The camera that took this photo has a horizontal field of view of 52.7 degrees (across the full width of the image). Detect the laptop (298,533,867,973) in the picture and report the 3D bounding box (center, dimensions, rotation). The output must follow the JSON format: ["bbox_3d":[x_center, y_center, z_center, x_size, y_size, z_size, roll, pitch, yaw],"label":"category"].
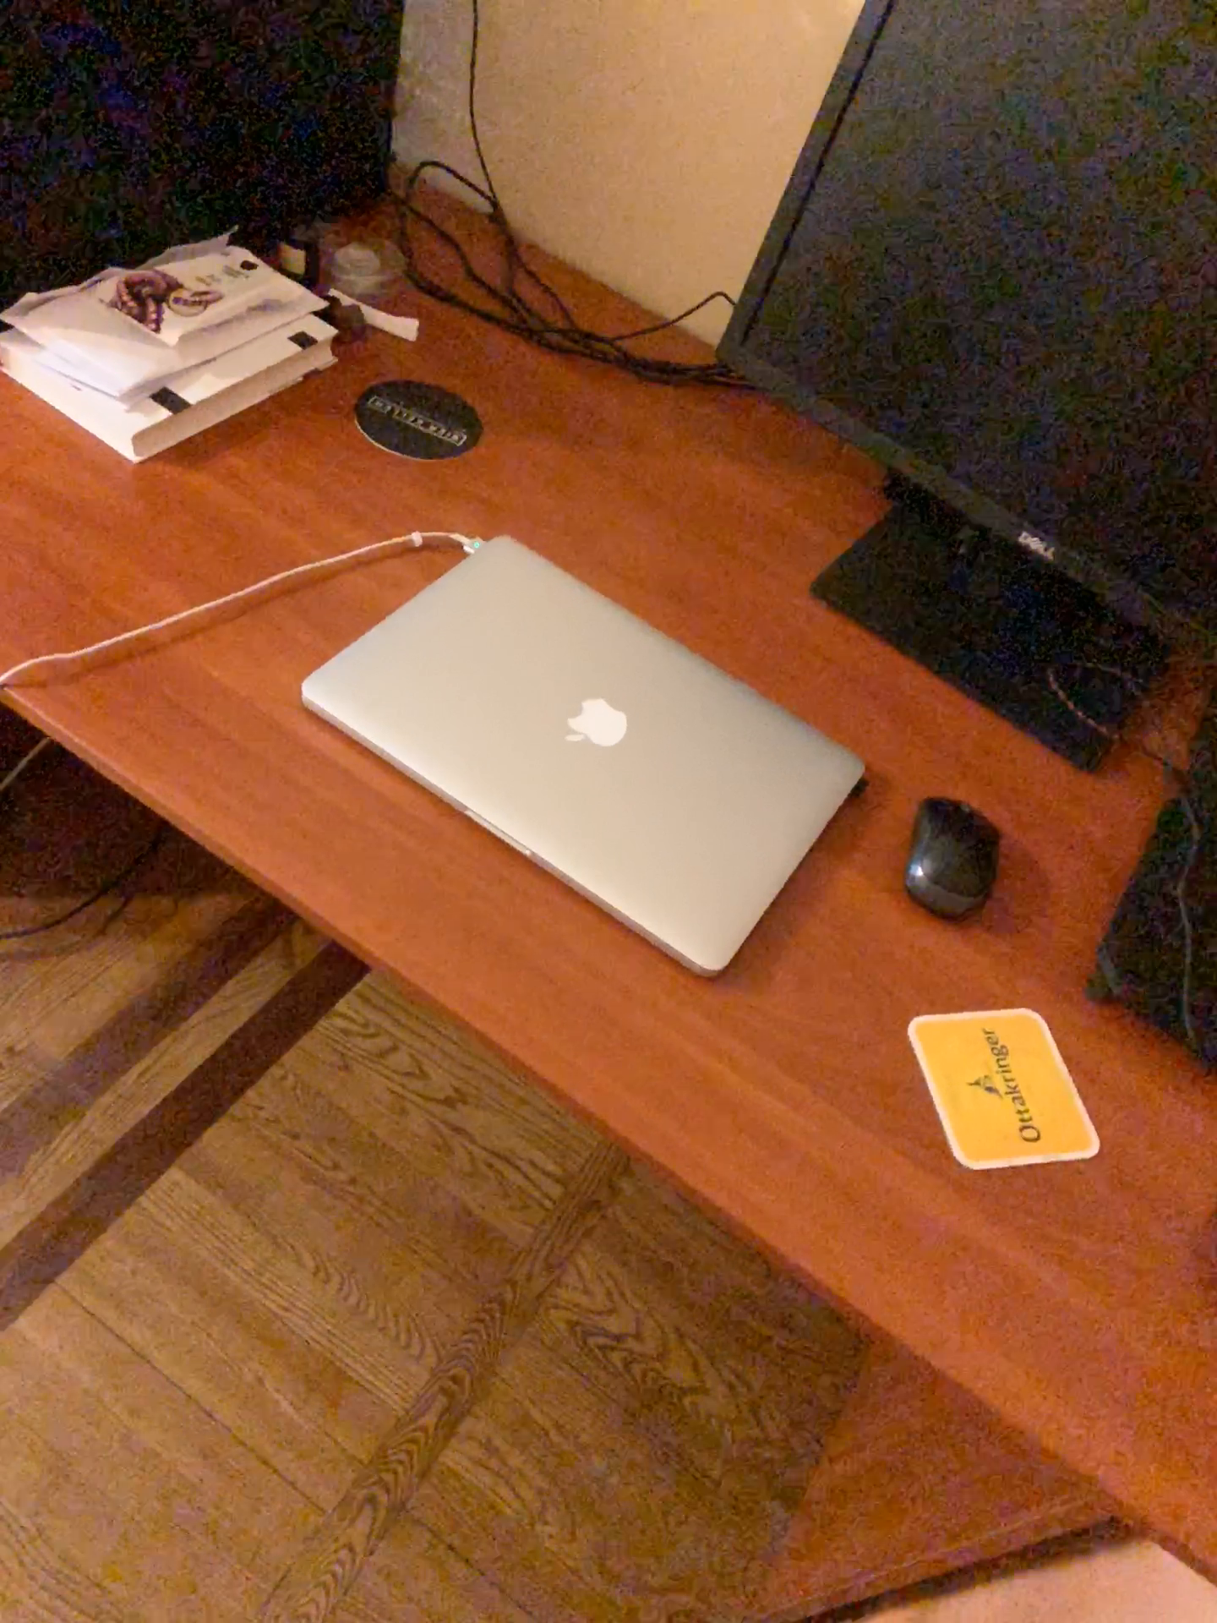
[{"bbox_3d":[-0.008,-0.055,0.789,0.306,0.001,0.214,34,51,11],"label":"laptop"}]
